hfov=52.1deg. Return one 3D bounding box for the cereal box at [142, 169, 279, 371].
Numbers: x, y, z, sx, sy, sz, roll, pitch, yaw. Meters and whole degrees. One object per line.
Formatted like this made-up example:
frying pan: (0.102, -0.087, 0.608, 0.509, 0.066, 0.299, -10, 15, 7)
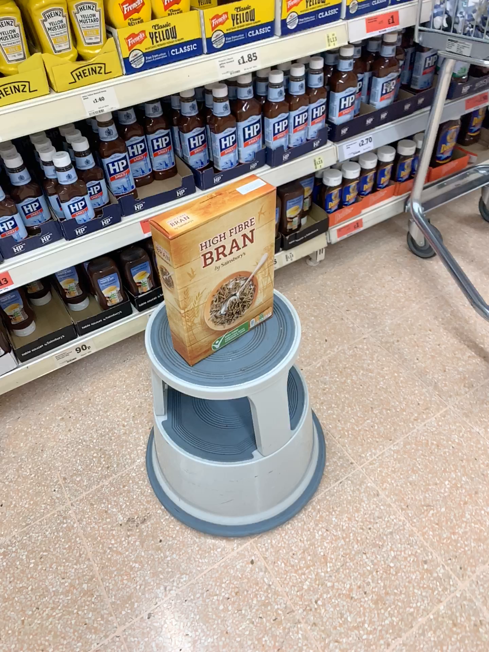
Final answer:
cereal box: (-0.039, -0.084, 0.820, 0.201, 0.277, 0.060, -32, 52, -25)
